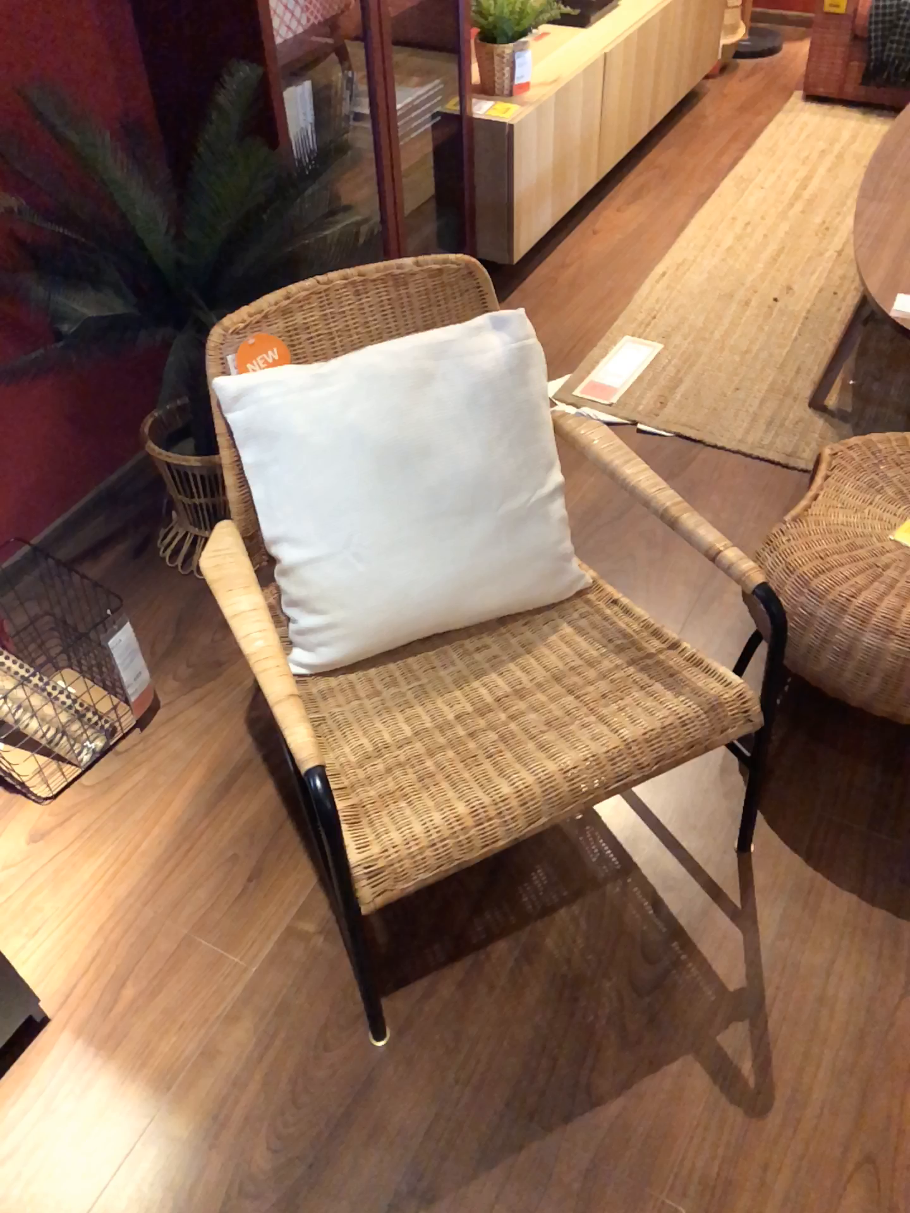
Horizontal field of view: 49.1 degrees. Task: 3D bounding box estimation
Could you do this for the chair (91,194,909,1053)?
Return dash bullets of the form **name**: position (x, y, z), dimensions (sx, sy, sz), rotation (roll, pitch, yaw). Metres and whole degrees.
- **chair**: position (0.029, -0.007, 1.328), dimensions (0.671, 0.705, 0.663), rotation (-22, 48, -18)
